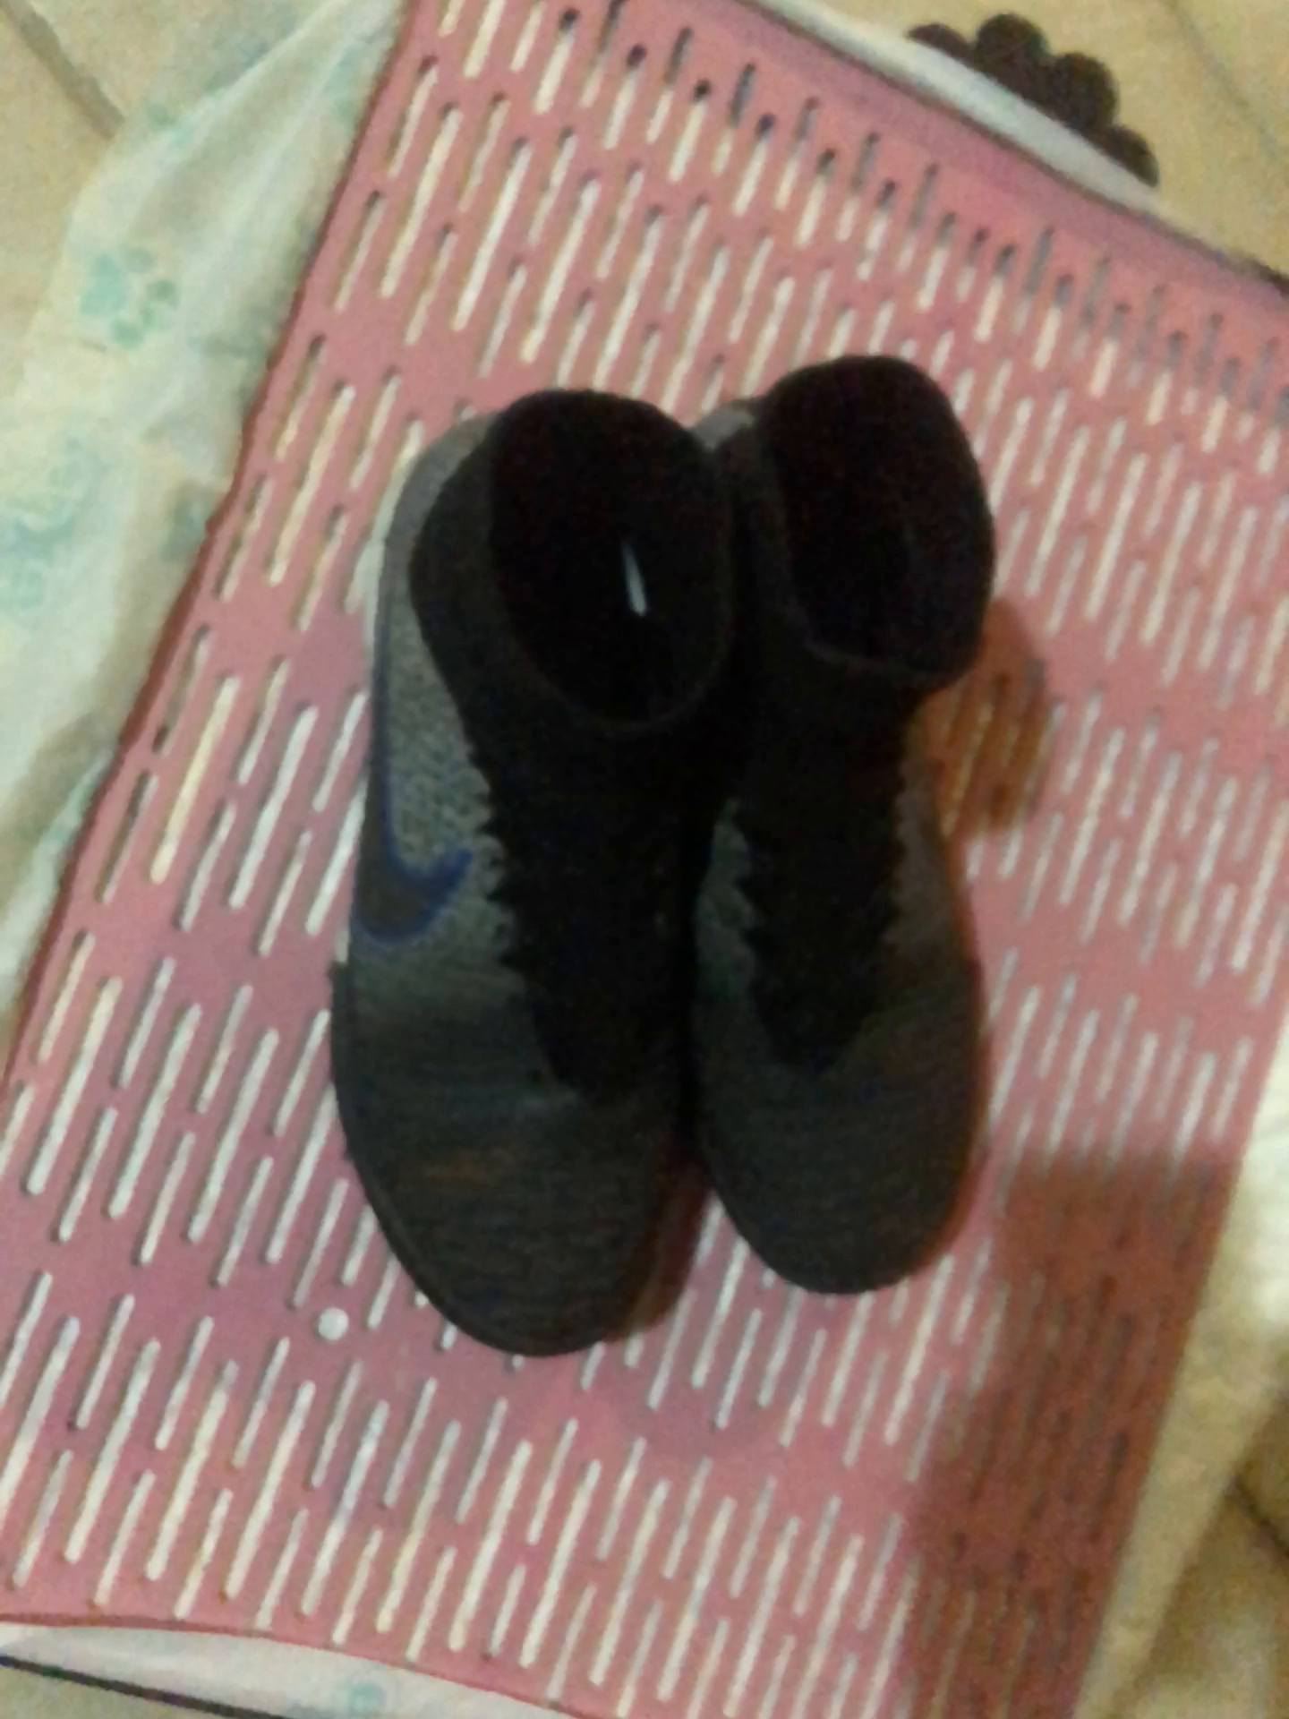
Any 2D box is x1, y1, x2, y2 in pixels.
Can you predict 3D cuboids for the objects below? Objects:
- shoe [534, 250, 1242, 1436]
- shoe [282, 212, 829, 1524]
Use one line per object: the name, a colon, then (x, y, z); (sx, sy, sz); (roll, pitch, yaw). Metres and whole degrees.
shoe: (0.055, -0.006, 0.406); (0.100, 0.150, 0.260); (-11, 91, -15)
shoe: (-0.035, 0.000, 0.383); (0.100, 0.150, 0.270); (-4, 89, -15)
